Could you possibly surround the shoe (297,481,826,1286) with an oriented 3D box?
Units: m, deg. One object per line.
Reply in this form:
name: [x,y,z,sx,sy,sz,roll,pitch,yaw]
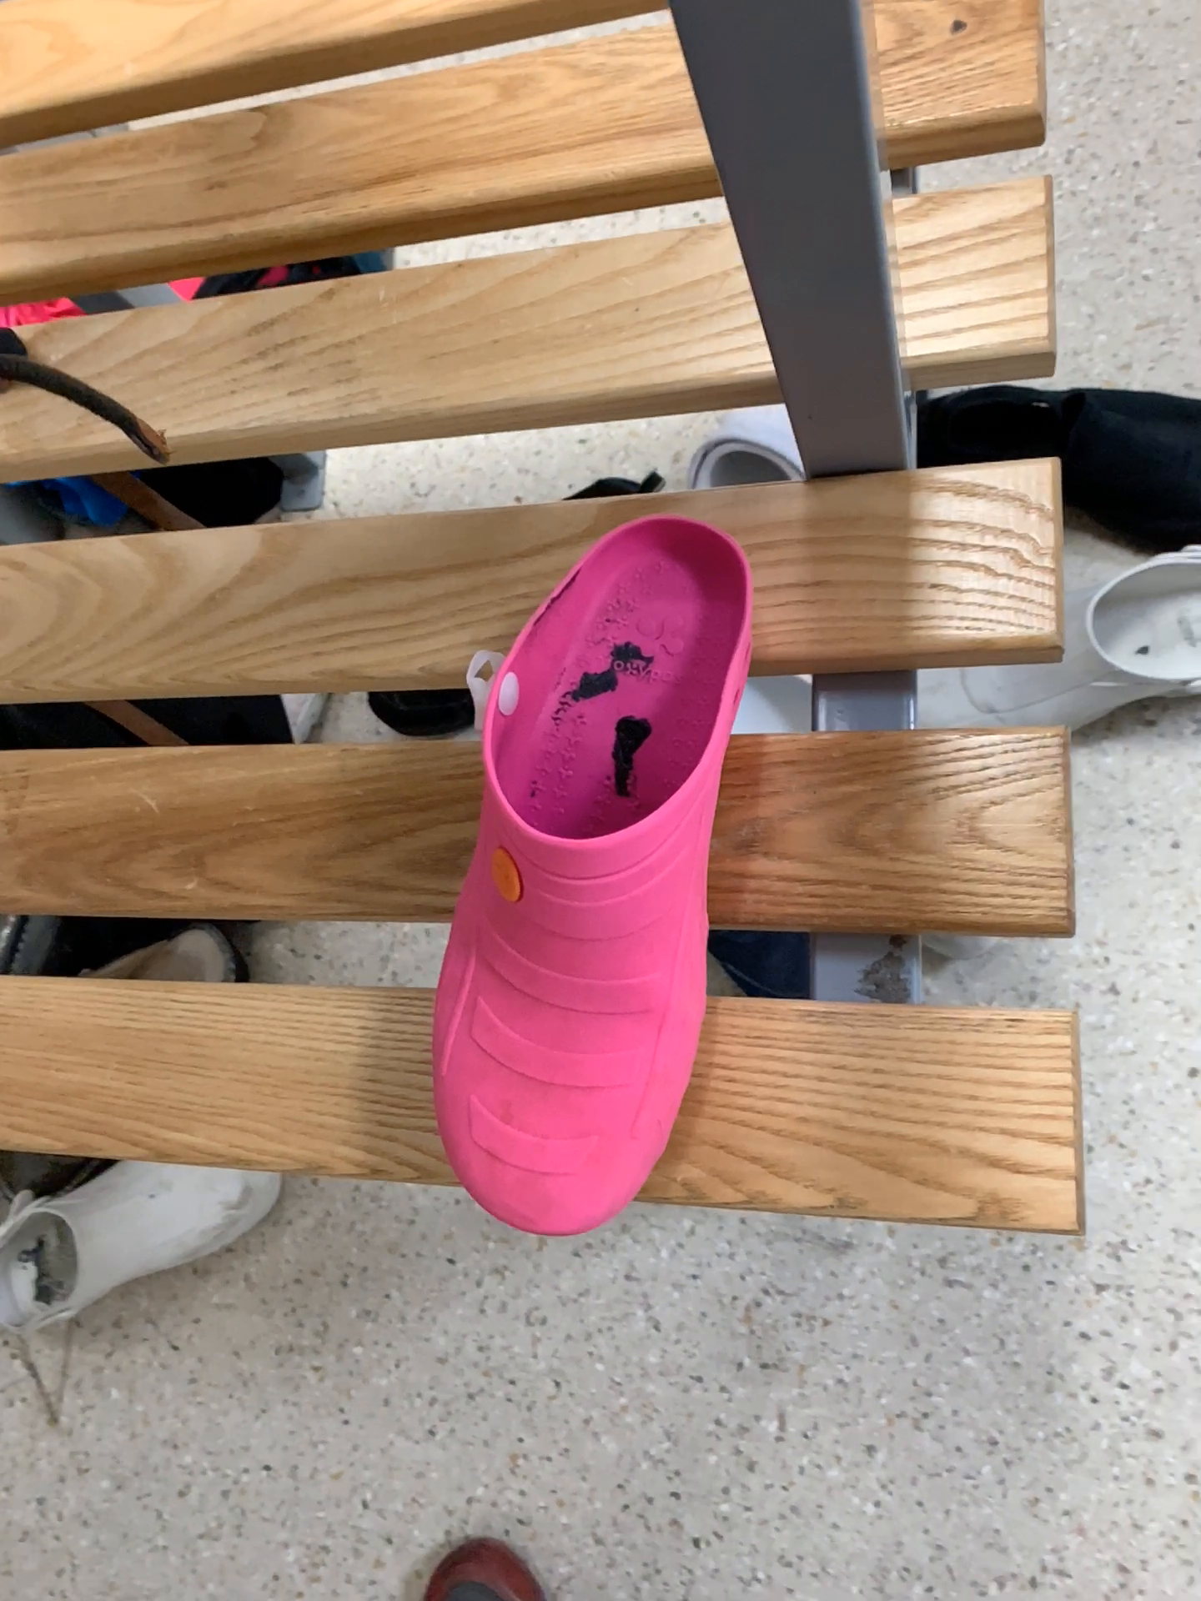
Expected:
shoe: [-0.006,0.021,0.391,0.097,0.068,0.220,13,83,20]
